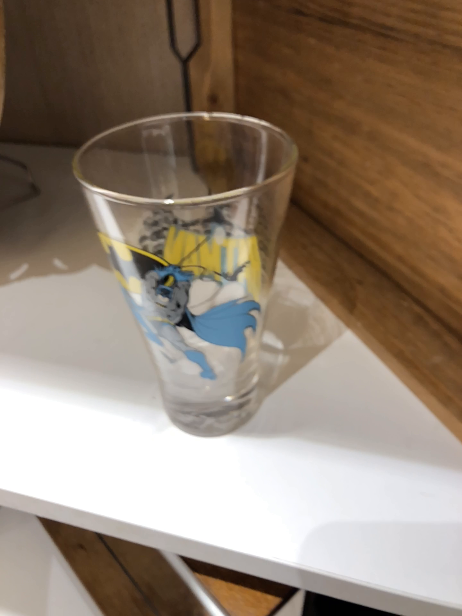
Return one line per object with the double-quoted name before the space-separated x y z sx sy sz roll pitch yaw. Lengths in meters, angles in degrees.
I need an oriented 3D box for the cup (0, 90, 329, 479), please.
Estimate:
"cup" -0.018 -0.012 0.228 0.090 0.129 0.081 15 42 21
